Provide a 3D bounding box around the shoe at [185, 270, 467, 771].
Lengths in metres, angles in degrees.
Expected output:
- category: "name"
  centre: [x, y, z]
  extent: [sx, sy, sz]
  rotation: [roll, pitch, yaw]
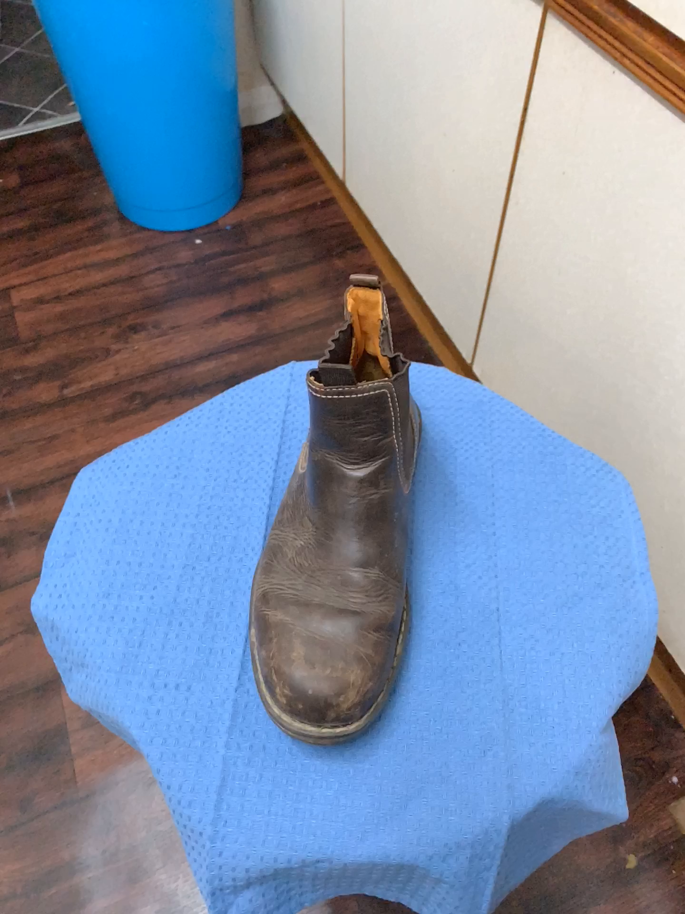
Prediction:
- category: "shoe"
  centre: [0.005, 0.035, 0.469]
  extent: [0.105, 0.156, 0.280]
  rotation: [9, 56, 7]
